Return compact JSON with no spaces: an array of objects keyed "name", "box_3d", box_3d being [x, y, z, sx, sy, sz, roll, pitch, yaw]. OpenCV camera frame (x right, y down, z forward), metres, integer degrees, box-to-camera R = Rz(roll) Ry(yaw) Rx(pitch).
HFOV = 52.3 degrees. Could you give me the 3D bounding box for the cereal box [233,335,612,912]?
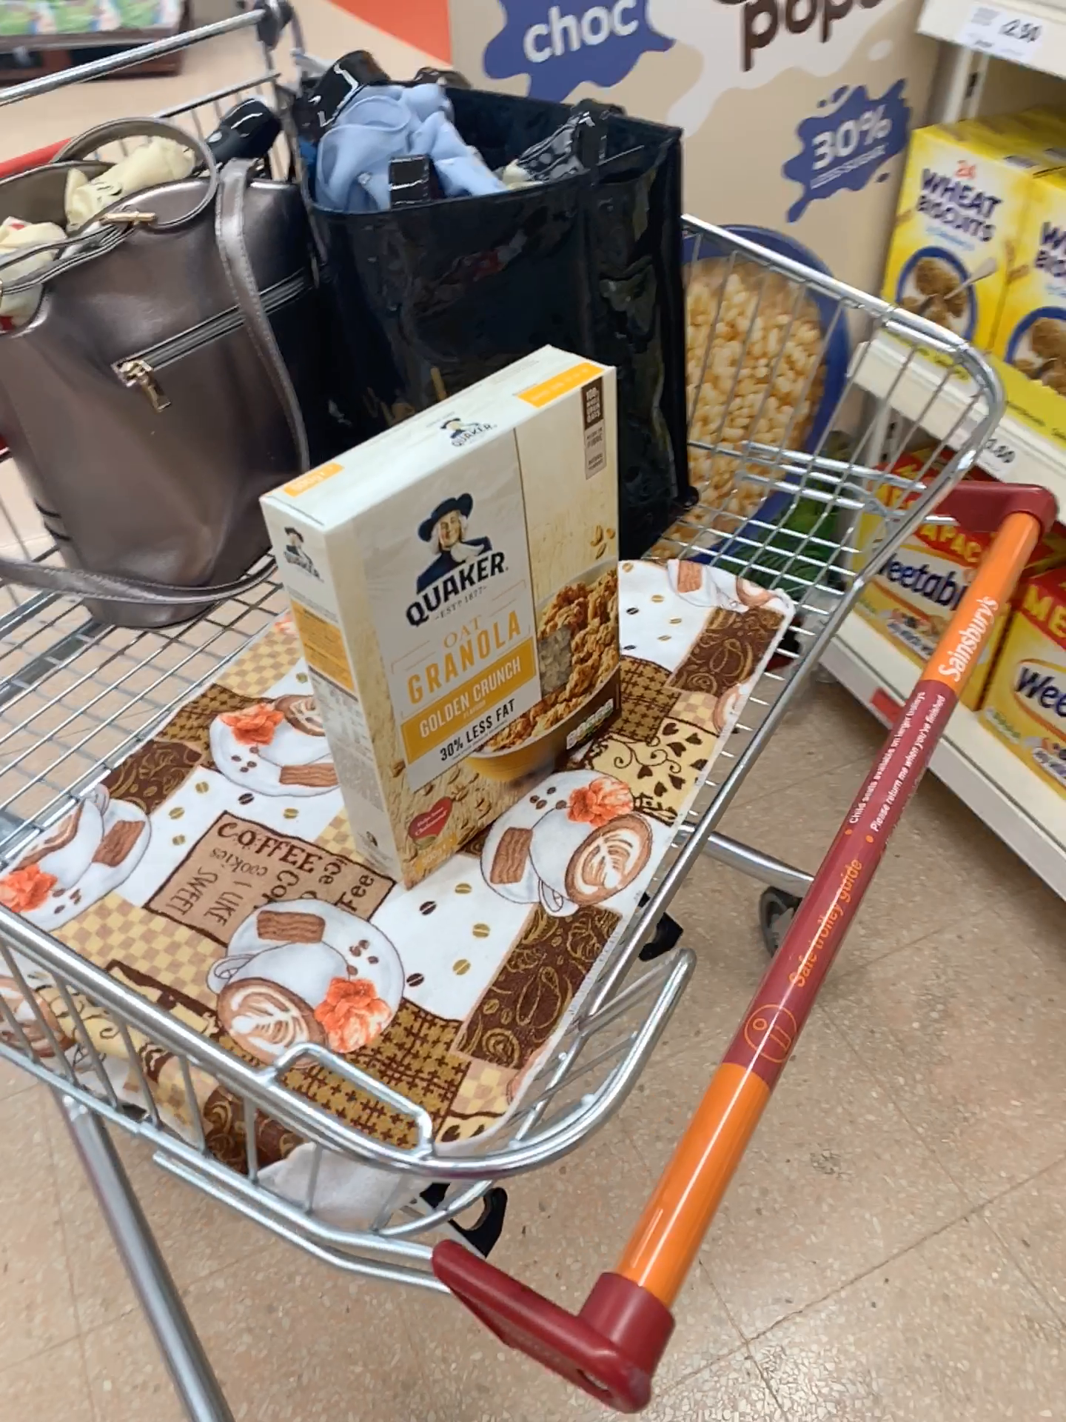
[{"name":"cereal box","box_3d":[-0.040,-0.044,0.607,0.050,0.258,0.201,29,51,32]}]
